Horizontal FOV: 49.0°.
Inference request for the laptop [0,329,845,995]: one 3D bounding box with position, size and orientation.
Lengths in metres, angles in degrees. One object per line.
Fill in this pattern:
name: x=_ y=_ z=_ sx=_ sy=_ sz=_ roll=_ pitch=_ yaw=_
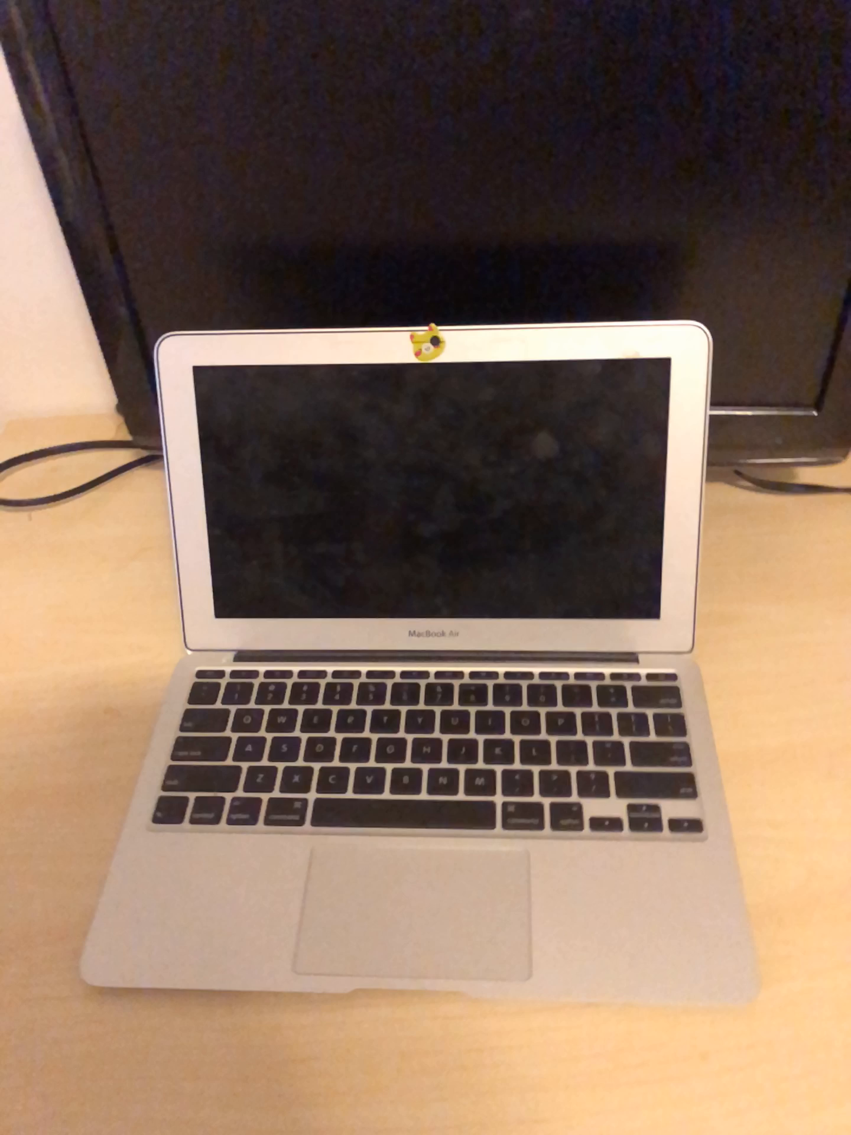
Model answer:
laptop: x=-0.001 y=0.029 z=0.452 sx=0.290 sy=0.160 sz=0.276 roll=0 pitch=43 yaw=5
